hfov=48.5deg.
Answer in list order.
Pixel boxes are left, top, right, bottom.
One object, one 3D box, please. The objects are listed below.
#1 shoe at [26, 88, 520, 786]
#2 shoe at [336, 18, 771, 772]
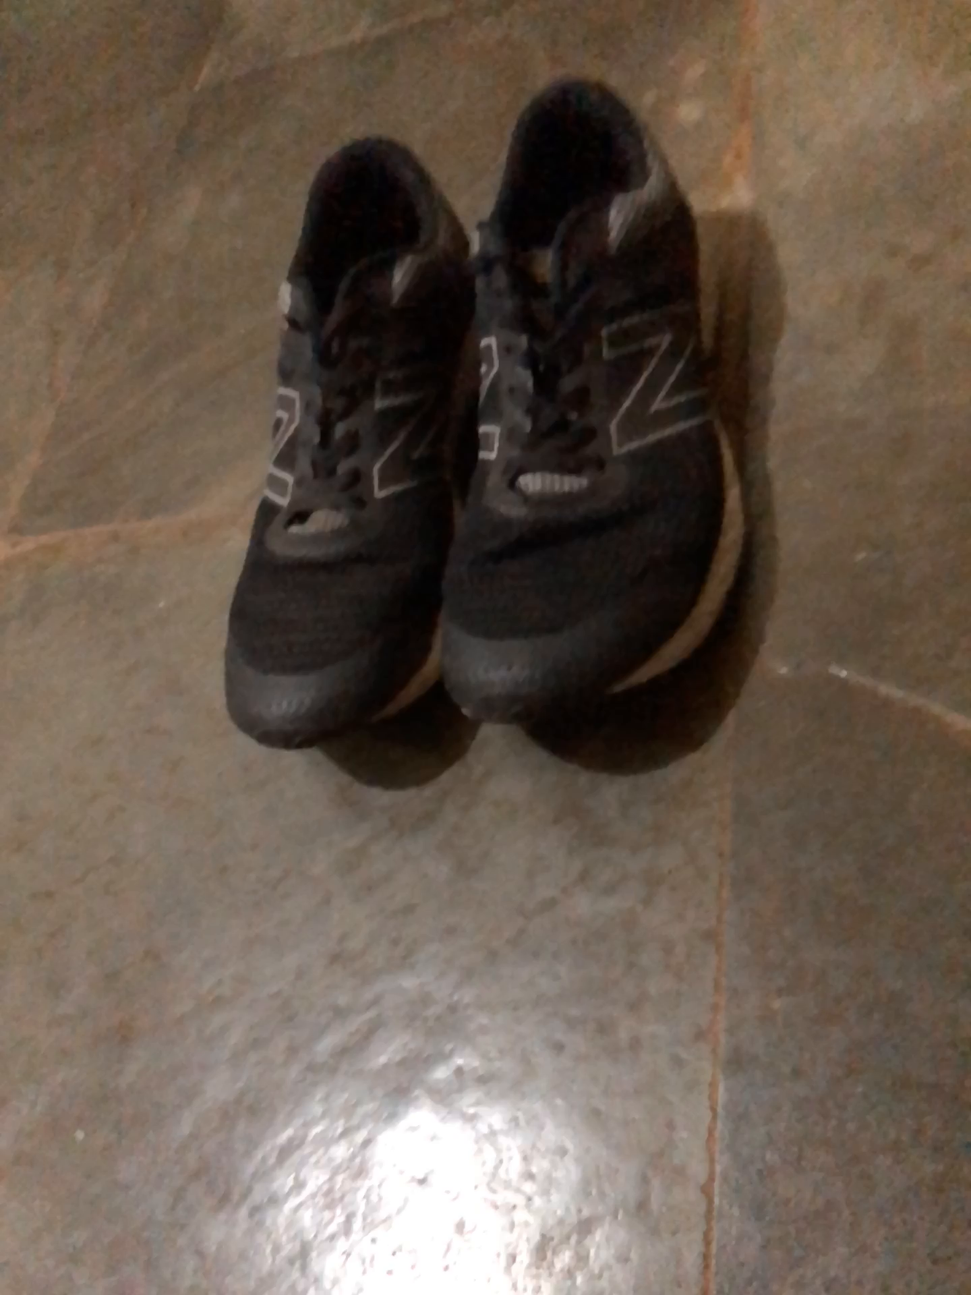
[{"bbox_3d":[-0.067,-0.088,0.440,0.120,0.099,0.261,-7,57,20],"label":"shoe"},{"bbox_3d":[0.036,-0.098,0.403,0.110,0.099,0.261,-7,57,20],"label":"shoe"}]
